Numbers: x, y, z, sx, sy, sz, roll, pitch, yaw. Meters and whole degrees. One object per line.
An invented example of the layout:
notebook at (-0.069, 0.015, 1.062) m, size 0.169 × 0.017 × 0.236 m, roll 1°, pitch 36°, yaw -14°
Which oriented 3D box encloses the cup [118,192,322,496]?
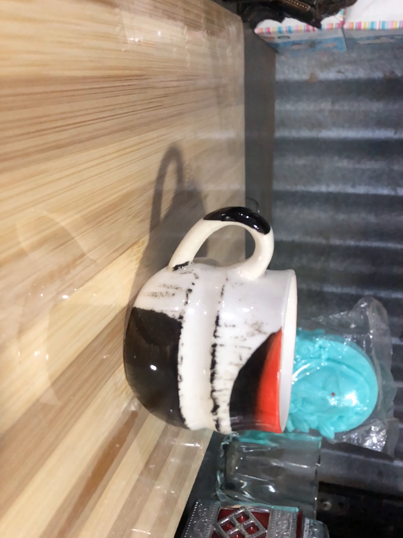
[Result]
cup at (0.013, 0.018, 0.178) m, size 0.080 × 0.060 × 0.090 m, roll -24°, pitch 117°, yaw -74°
